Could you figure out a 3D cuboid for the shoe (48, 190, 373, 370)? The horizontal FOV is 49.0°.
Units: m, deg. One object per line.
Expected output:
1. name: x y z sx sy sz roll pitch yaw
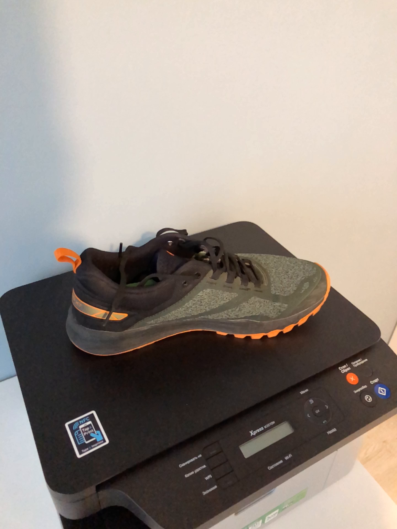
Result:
1. shoe: 0.008 0.010 0.489 0.310 0.119 0.121 -6 38 -10
